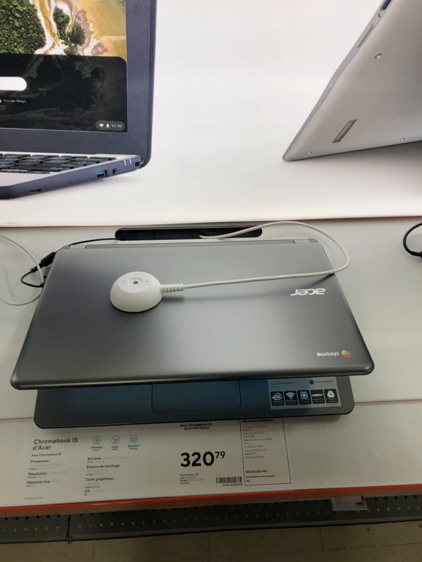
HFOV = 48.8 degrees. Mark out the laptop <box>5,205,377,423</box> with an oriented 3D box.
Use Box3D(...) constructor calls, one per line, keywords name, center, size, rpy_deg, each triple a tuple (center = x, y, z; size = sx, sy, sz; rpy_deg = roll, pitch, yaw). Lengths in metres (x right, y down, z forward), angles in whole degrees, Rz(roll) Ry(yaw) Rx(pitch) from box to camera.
Box3D(name="laptop", center=(-0.026, 0.032, 0.567), size=(0.369, 0.088, 0.248), rpy_deg=(-1, 57, -2))
